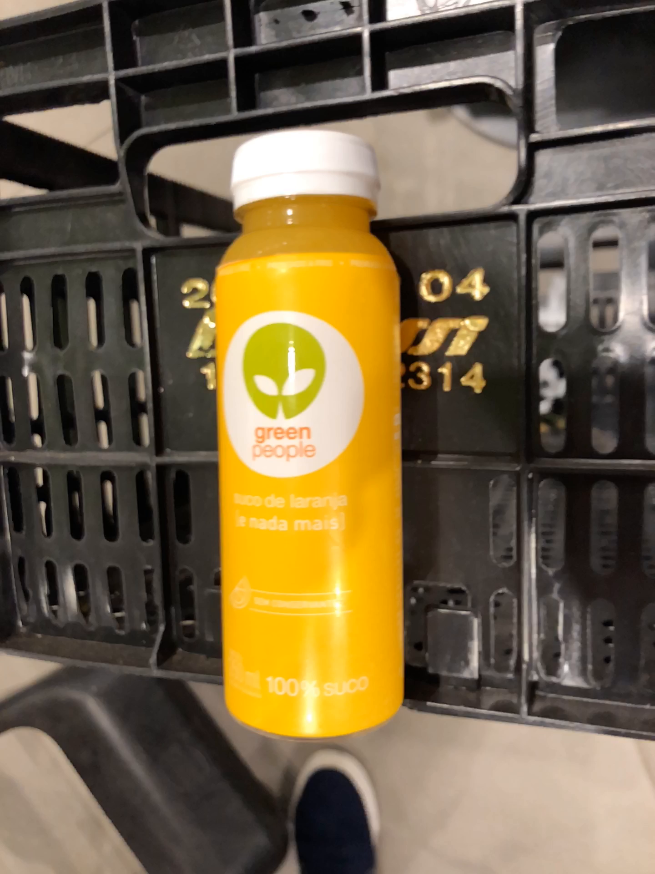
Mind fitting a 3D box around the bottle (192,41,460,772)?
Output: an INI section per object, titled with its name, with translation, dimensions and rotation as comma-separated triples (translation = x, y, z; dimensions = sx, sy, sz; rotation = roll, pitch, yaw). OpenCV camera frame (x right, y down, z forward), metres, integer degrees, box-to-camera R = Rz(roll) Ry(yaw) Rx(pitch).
[bottle]
translation = 0.003, -0.006, 0.216
dimensions = 0.060, 0.050, 0.180
rotation = 0, 94, 20
